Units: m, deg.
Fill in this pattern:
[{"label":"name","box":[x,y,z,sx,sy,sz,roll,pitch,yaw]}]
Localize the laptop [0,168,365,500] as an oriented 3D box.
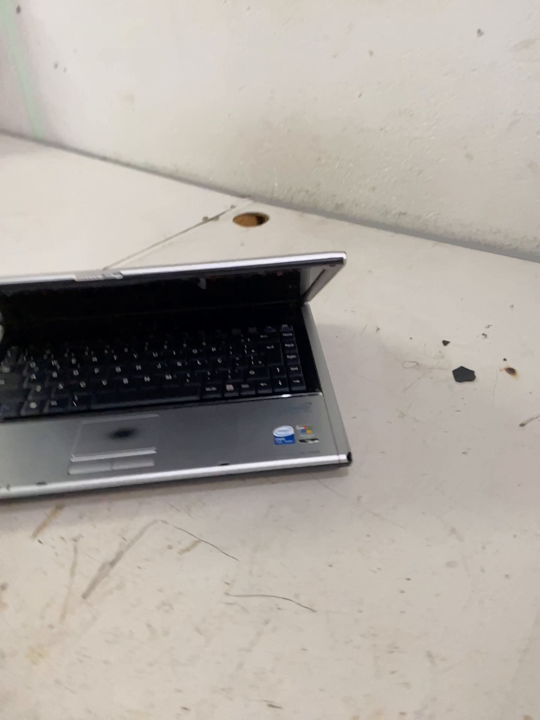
[{"label":"laptop","box":[-0.111,-0.038,0.454,0.319,0.144,0.228,-5,35,-2]}]
